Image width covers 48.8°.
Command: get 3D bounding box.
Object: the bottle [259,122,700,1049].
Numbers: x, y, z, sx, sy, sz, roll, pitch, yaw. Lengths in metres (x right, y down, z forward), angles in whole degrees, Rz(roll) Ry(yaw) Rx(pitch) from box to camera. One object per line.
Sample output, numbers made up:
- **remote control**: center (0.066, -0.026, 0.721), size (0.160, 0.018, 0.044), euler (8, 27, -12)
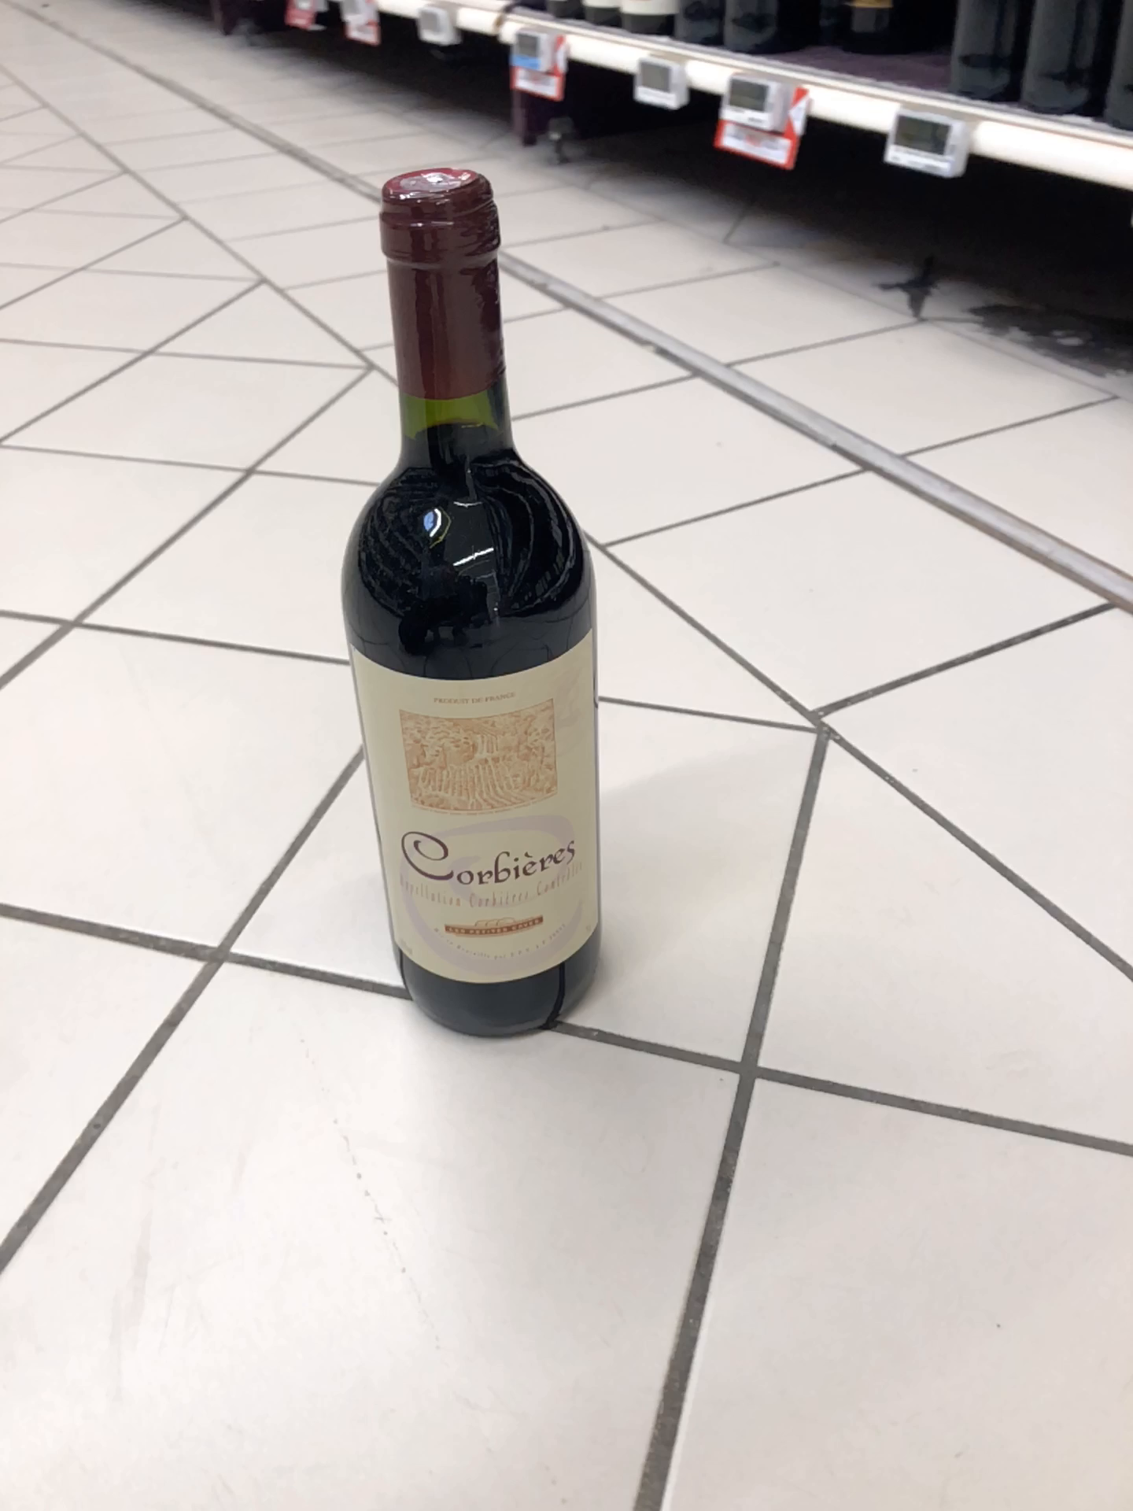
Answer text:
- **bottle**: center (-0.018, -0.037, 0.364), size (0.090, 0.248, 0.091), euler (-1, 36, 1)
